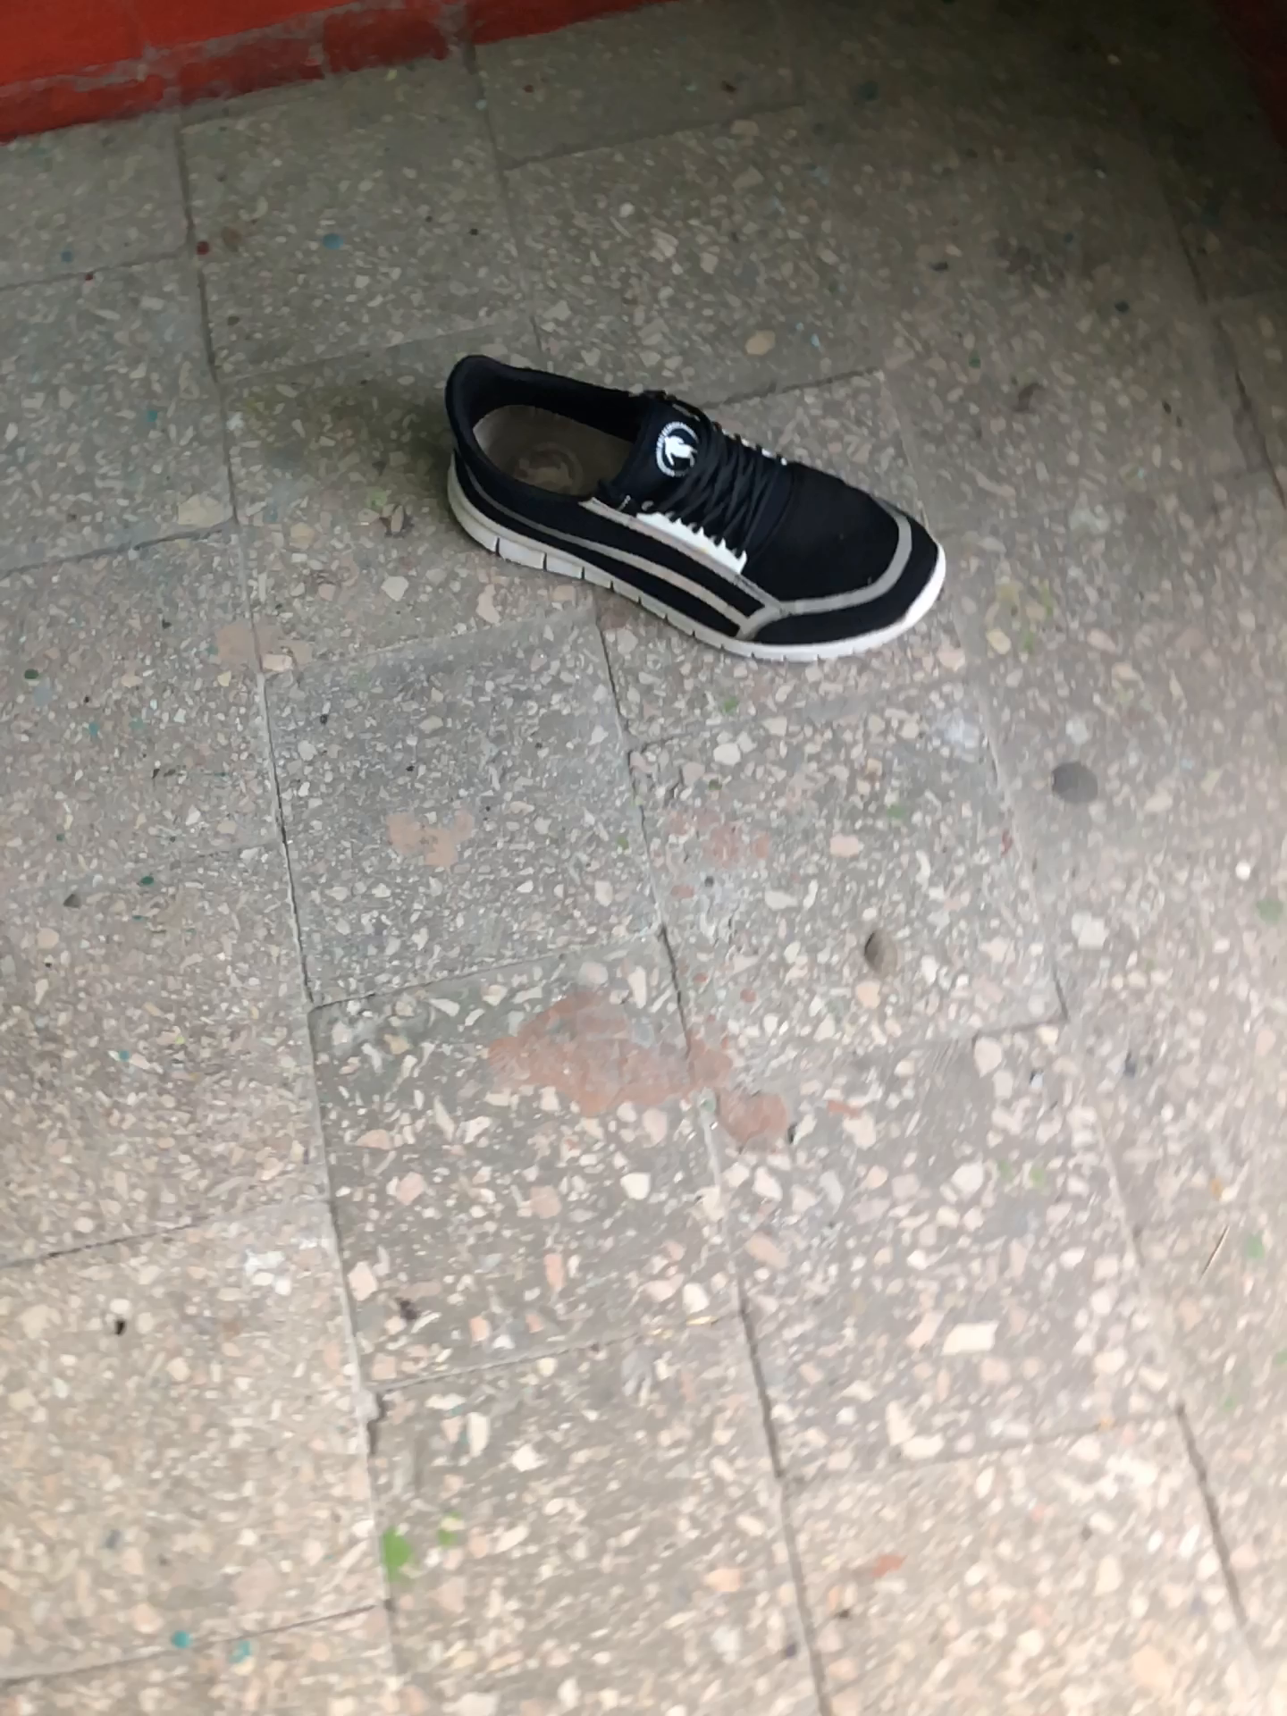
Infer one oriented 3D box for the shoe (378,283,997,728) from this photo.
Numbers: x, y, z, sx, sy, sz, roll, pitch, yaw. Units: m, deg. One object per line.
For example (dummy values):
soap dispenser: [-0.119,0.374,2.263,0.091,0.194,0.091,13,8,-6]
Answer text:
shoe: [0.022,-0.179,0.735,0.280,0.120,0.100,21,78,8]
